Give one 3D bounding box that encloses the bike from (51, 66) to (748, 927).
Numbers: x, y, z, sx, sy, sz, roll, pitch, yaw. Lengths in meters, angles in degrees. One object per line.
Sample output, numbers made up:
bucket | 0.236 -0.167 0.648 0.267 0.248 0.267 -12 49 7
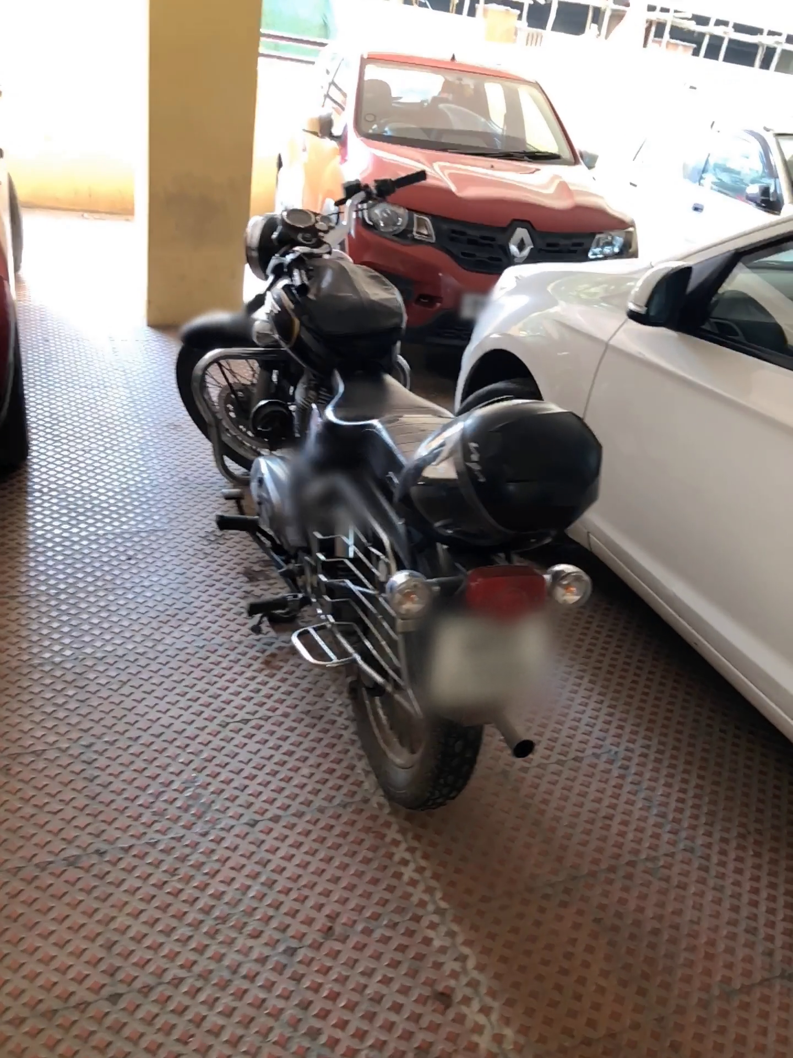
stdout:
bike | -0.280 -0.259 2.152 0.692 1.217 1.791 -8 36 -28
